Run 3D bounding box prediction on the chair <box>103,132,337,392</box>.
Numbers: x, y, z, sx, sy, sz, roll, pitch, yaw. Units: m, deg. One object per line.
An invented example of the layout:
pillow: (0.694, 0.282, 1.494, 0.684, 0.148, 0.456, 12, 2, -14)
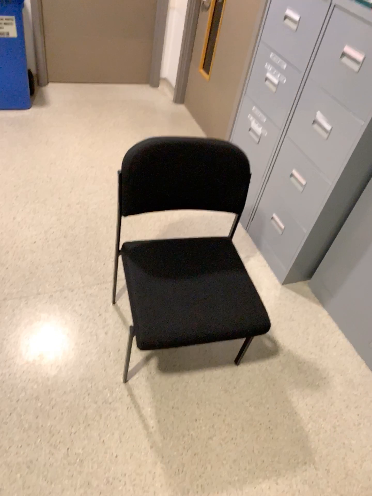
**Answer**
chair: (0.018, 0.068, 1.538, 0.631, 0.832, 0.585, -3, 46, -17)
